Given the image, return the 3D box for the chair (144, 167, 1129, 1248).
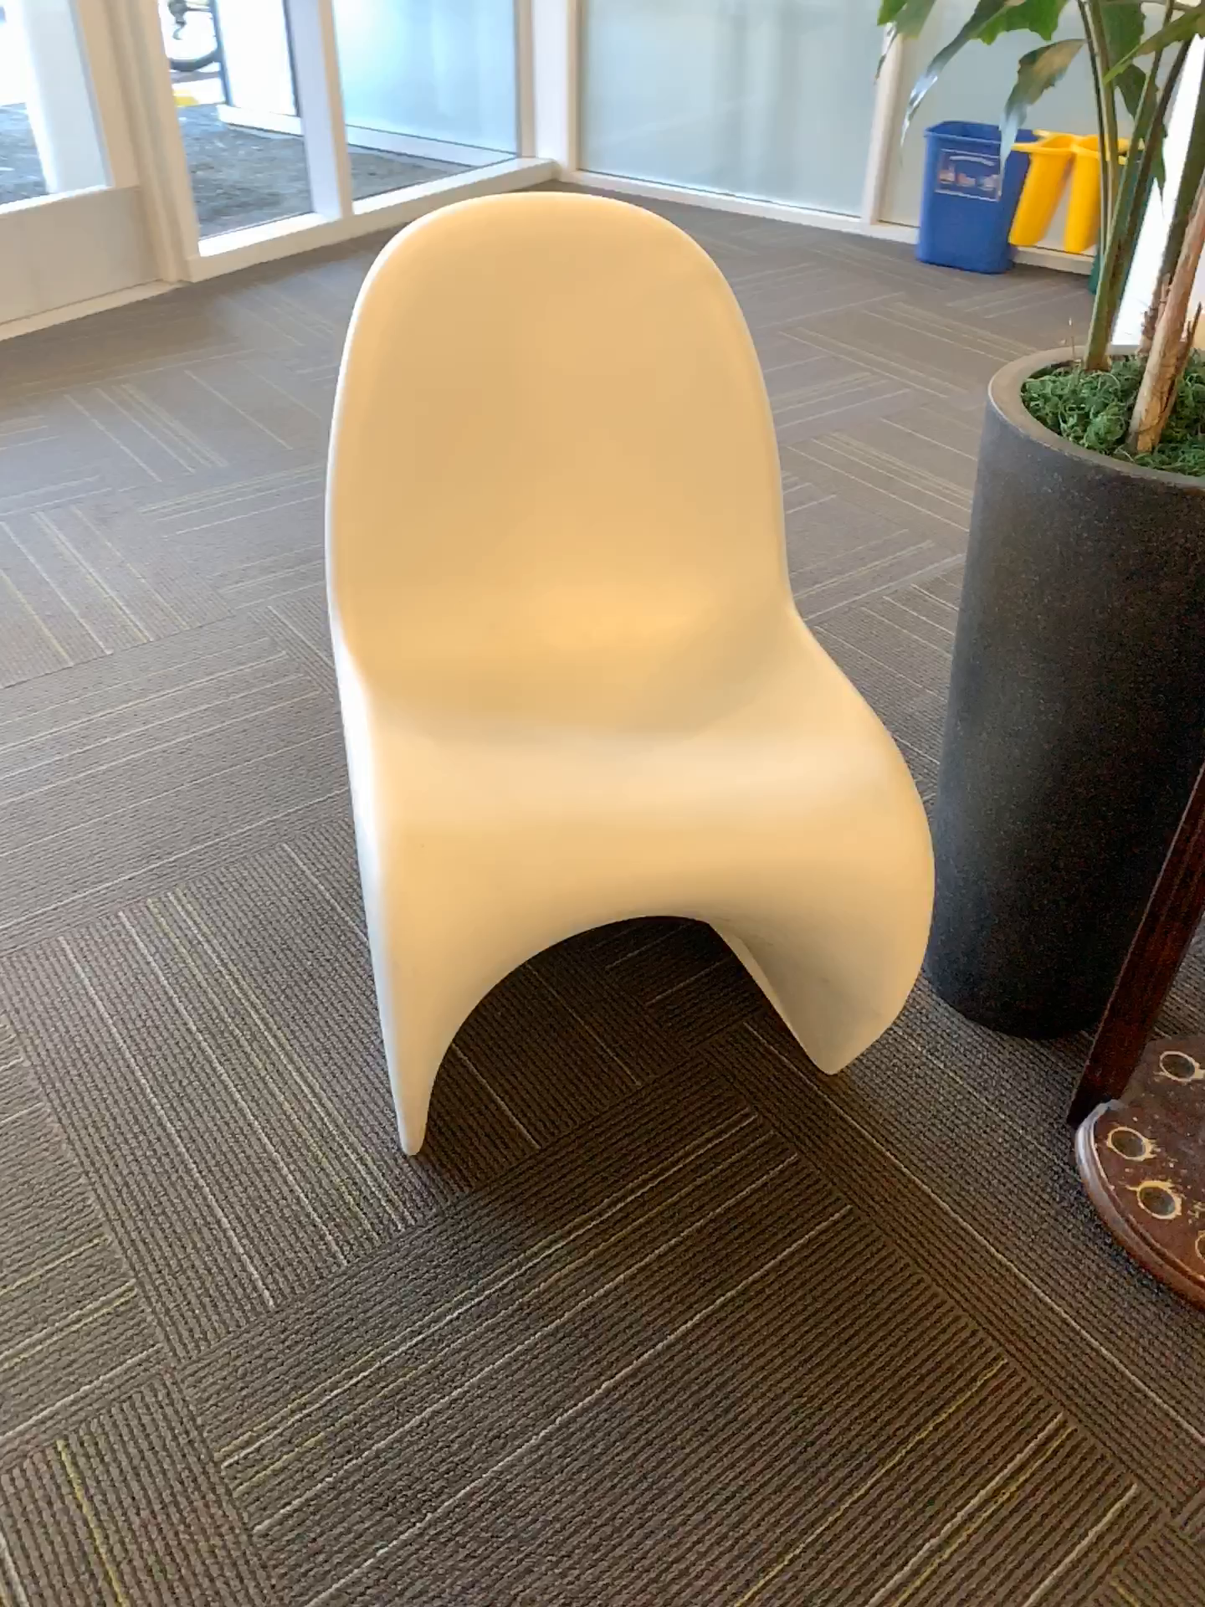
[{"bbox_3d":[-0.023,-0.127,1.230,0.600,0.775,0.583,-15,41,-20],"label":"chair"}]
